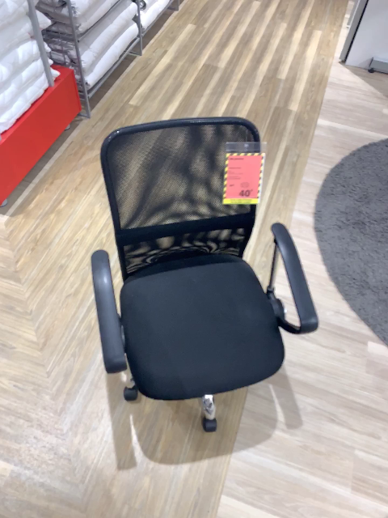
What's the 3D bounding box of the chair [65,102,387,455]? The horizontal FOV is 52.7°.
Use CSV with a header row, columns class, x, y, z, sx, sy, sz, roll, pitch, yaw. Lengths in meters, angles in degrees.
class,x,y,z,sx,sy,sz,roll,pitch,yaw
chair,0.039,0.117,1.172,0.640,0.867,0.602,-8,56,-10
